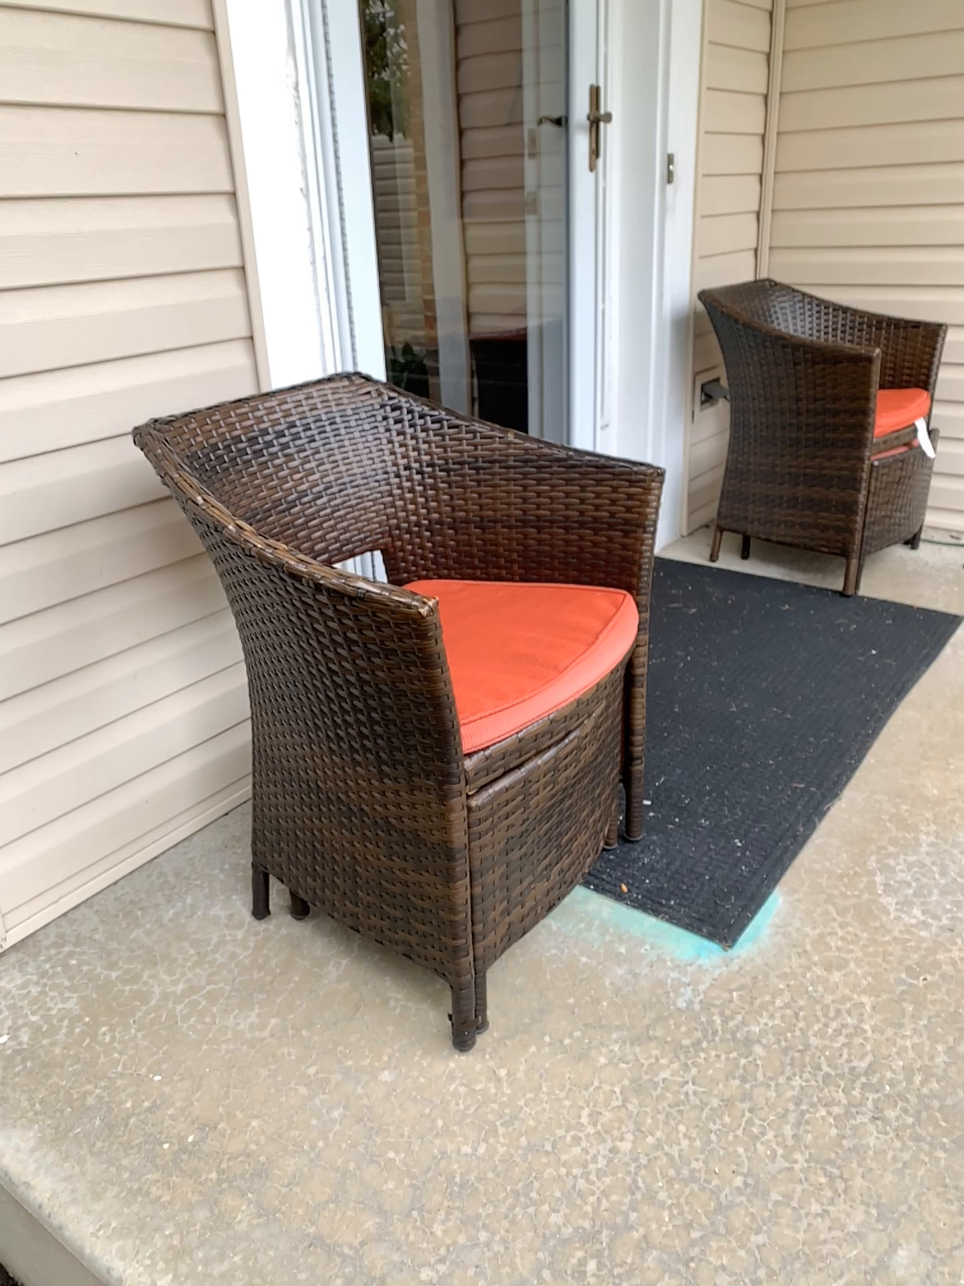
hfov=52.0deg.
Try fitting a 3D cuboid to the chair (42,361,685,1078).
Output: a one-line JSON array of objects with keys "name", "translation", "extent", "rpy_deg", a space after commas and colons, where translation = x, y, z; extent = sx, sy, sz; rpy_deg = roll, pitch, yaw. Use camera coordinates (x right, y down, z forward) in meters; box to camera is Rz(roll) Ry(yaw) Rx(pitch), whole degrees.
[{"name": "chair", "translation": [-0.110, 0.023, 1.484], "extent": [0.605, 0.758, 0.645], "rpy_deg": [11, 26, 29]}]

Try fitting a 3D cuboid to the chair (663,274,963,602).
[{"name": "chair", "translation": [0.958, -0.630, 2.833], "extent": [0.606, 0.758, 0.644], "rpy_deg": [15, 29, 36]}]
